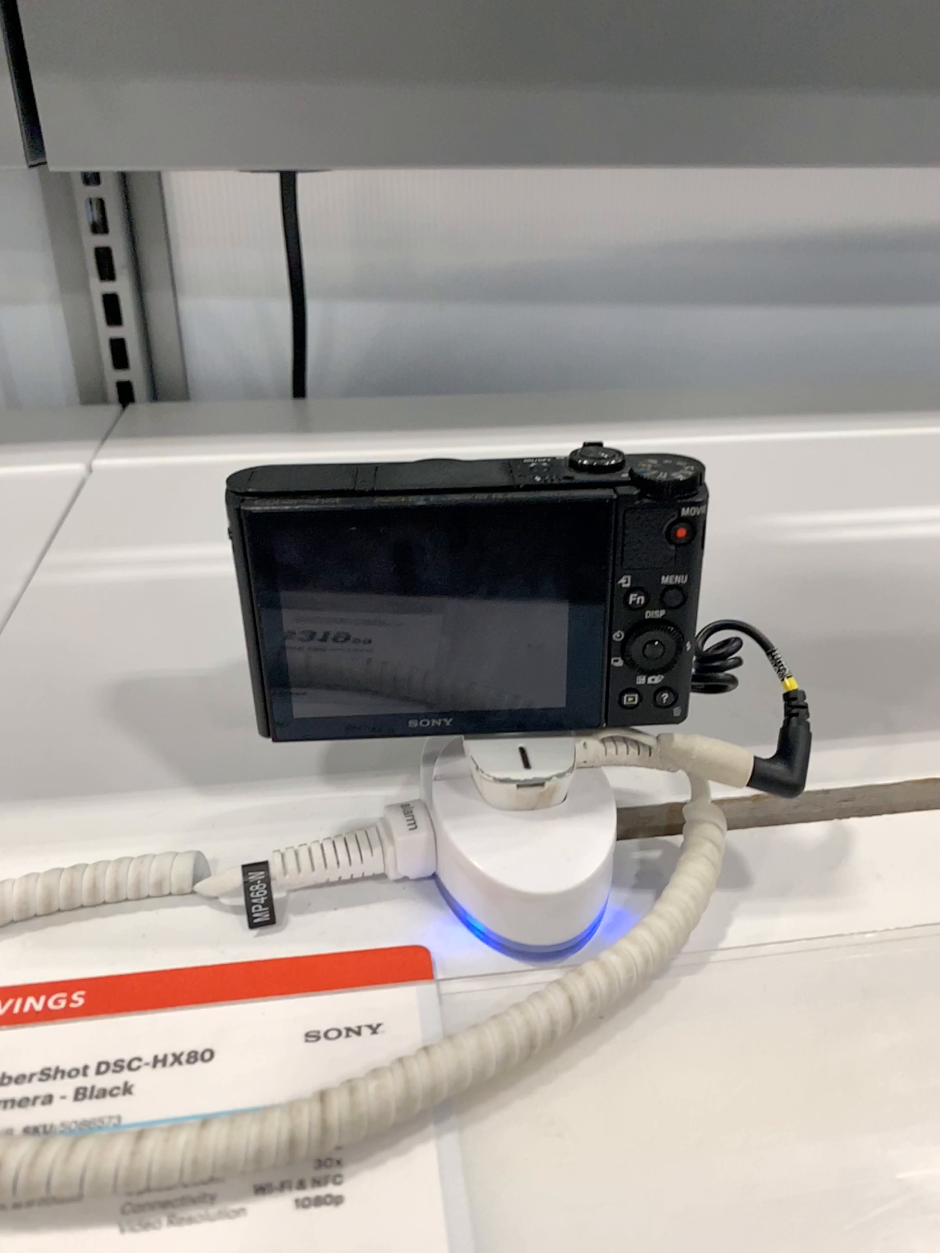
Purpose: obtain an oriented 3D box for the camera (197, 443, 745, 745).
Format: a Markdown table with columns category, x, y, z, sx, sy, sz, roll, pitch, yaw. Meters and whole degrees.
| category | x | y | z | sx | sy | sz | roll | pitch | yaw |
| --- | --- | --- | --- | --- | --- | --- | --- | --- | --- |
| camera | -0.001 | -0.009 | 0.214 | 0.104 | 0.052 | 0.040 | -1 | 27 | -4 |
